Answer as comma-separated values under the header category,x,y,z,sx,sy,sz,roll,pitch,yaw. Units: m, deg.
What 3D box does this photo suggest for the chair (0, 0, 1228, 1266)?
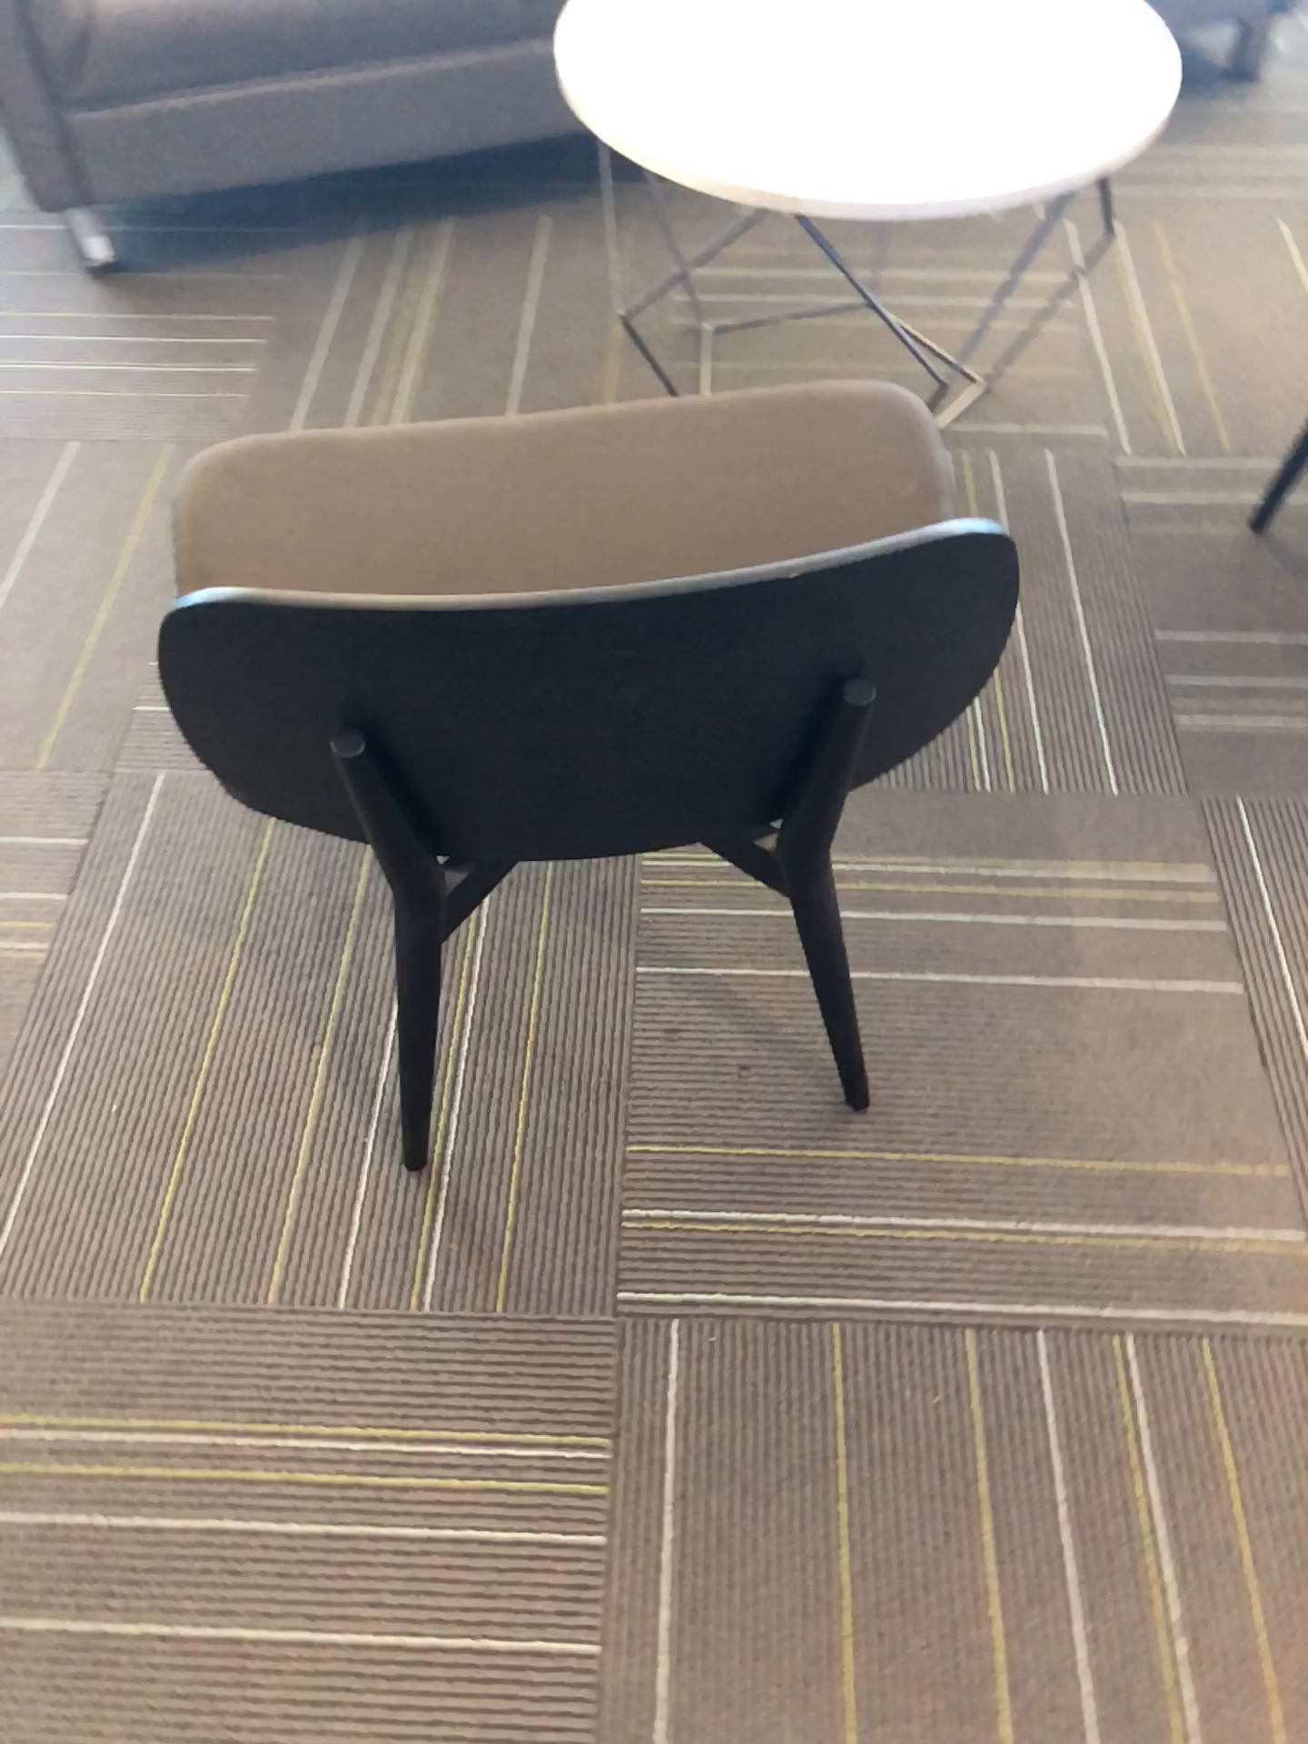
category,x,y,z,sx,sy,sz,roll,pitch,yaw
chair,-0.073,-0.205,1.272,0.670,0.738,0.743,-8,52,-5
